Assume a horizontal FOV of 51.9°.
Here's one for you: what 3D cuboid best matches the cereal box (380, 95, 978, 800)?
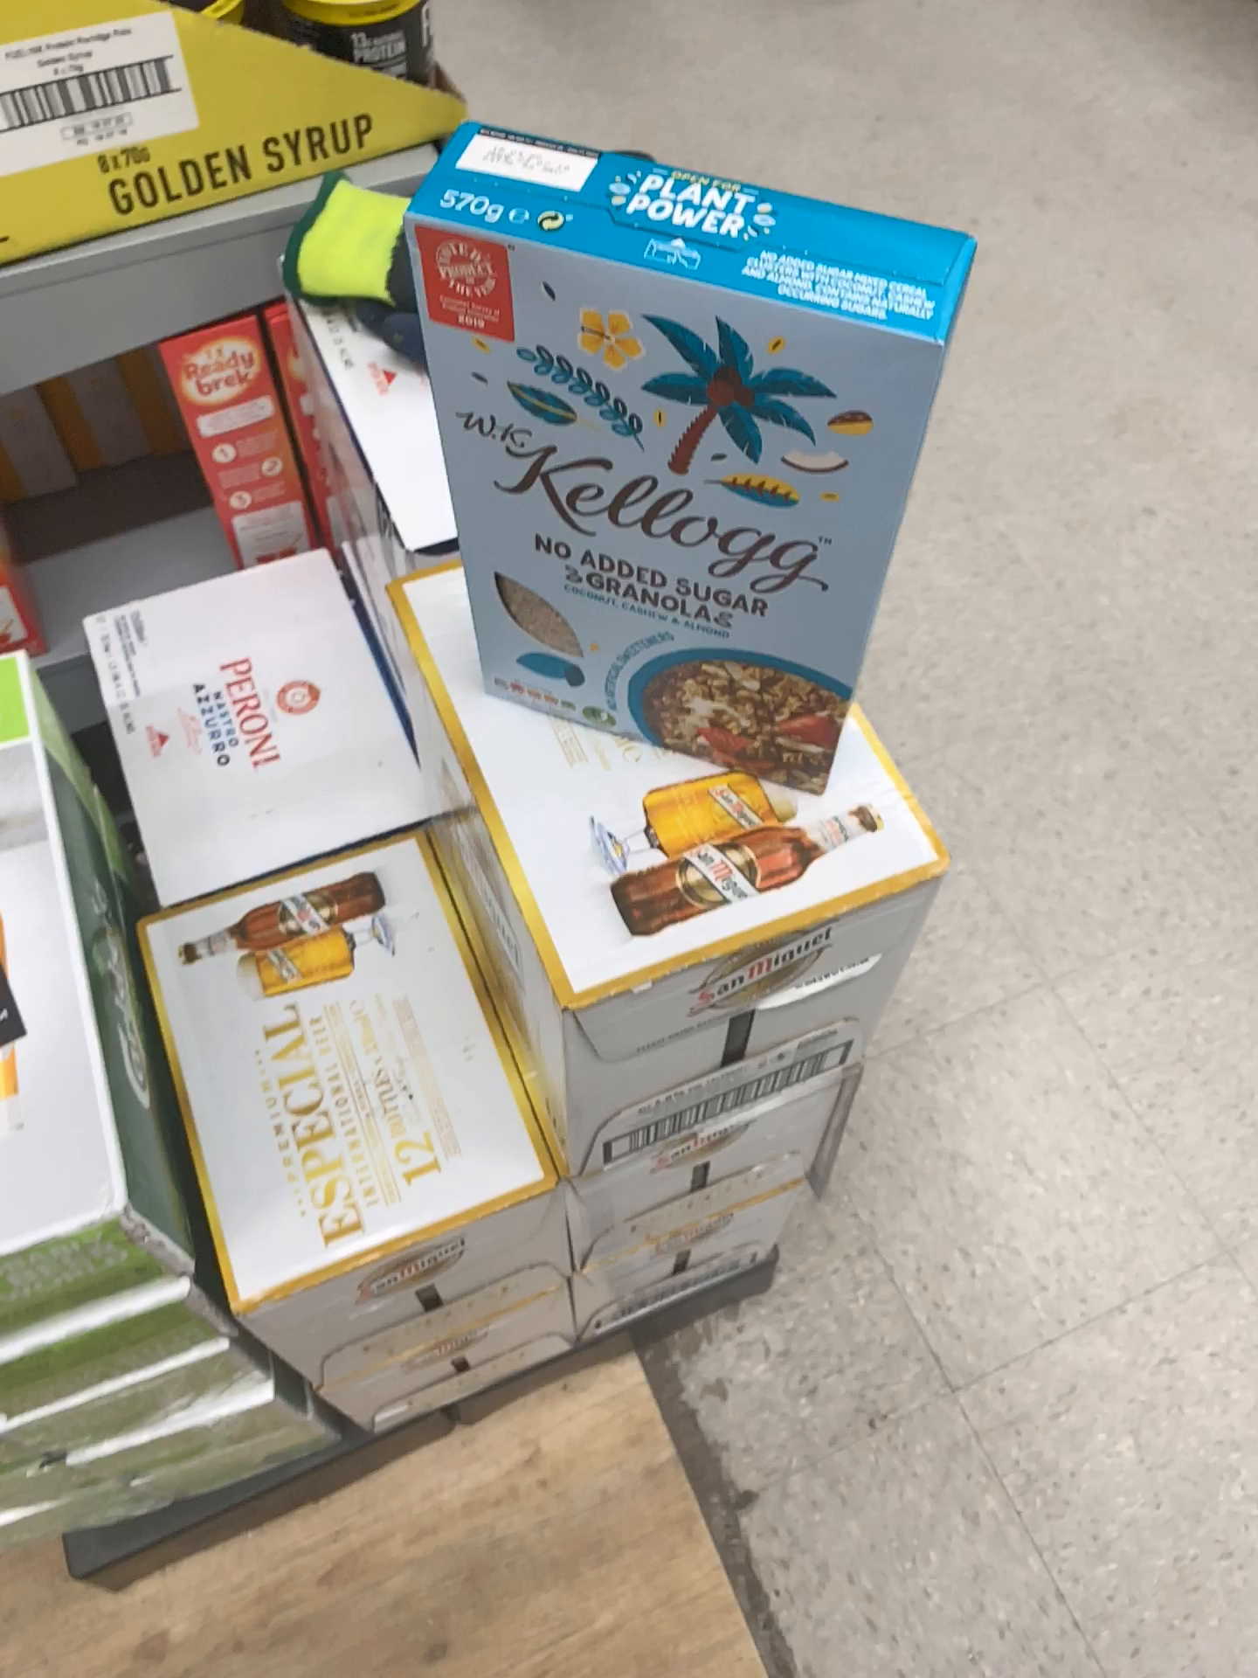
[{"bbox_3d":[0.014,-0.120,0.472,0.160,0.248,0.050,17,63,10],"label":"cereal box"}]
